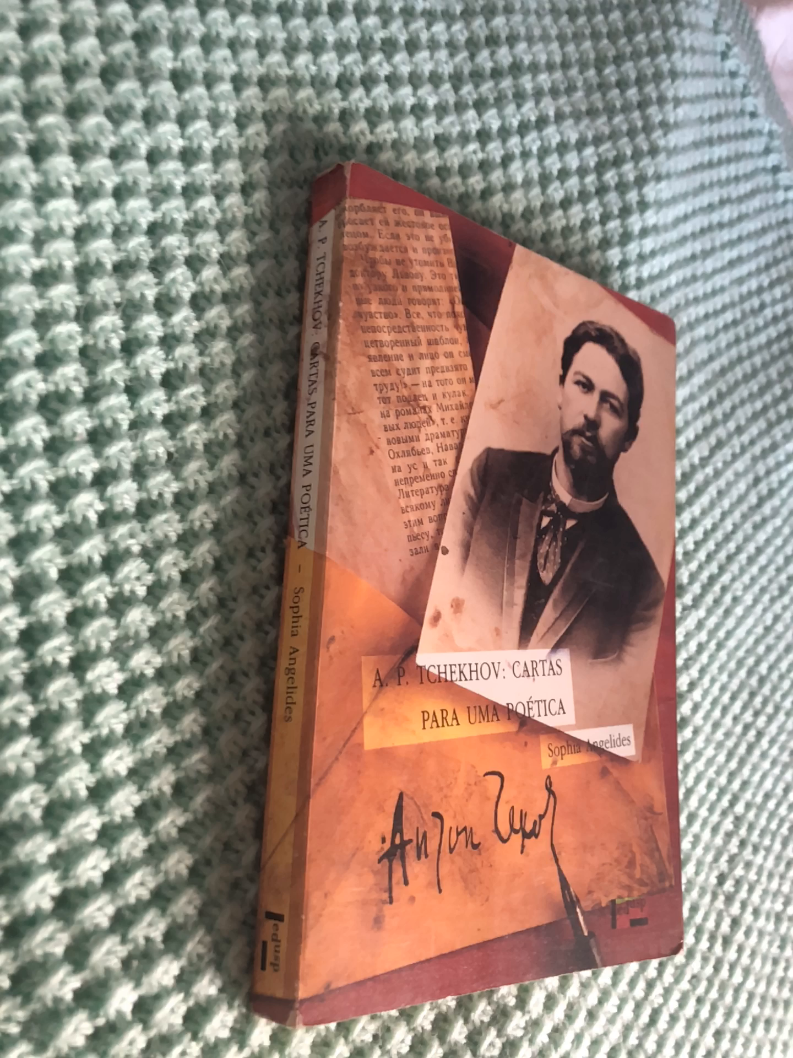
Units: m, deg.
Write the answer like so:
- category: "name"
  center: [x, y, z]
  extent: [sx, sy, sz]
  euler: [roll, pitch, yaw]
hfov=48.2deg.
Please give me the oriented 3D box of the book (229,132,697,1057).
- category: "book"
  center: [0.033, 0.020, 0.257]
  extent: [0.151, 0.030, 0.210]
  euler: [13, 74, -42]
